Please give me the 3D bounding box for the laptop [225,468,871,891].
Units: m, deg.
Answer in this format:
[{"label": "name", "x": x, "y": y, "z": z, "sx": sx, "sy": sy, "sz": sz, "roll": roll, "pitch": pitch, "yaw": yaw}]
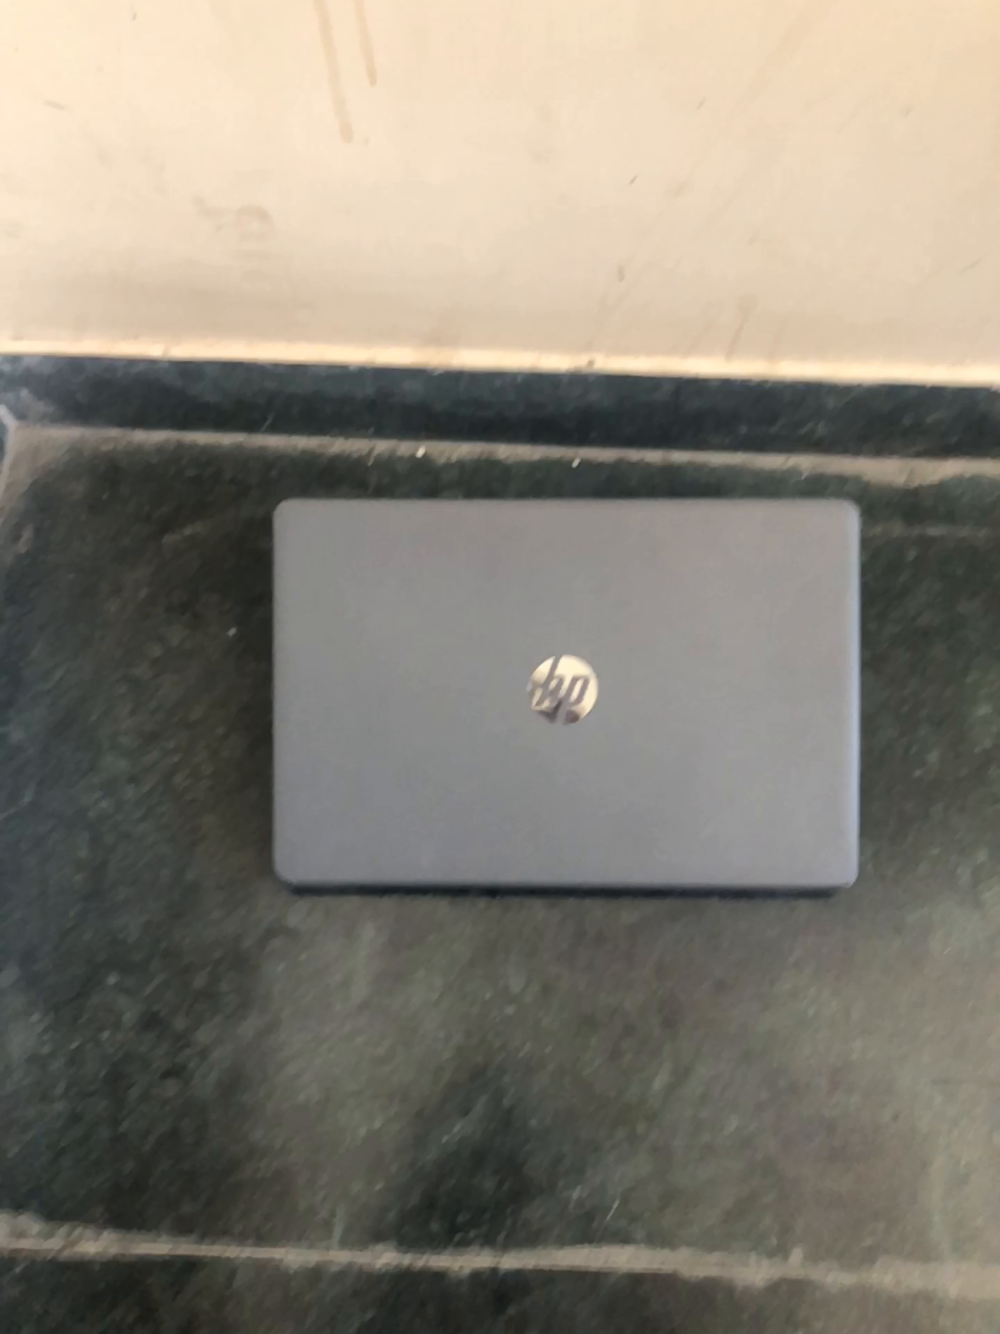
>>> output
[{"label": "laptop", "x": 0.028, "y": 0.008, "z": 0.693, "sx": 0.357, "sy": 0.092, "sz": 0.243, "roll": 0, "pitch": 71, "yaw": 1}]
